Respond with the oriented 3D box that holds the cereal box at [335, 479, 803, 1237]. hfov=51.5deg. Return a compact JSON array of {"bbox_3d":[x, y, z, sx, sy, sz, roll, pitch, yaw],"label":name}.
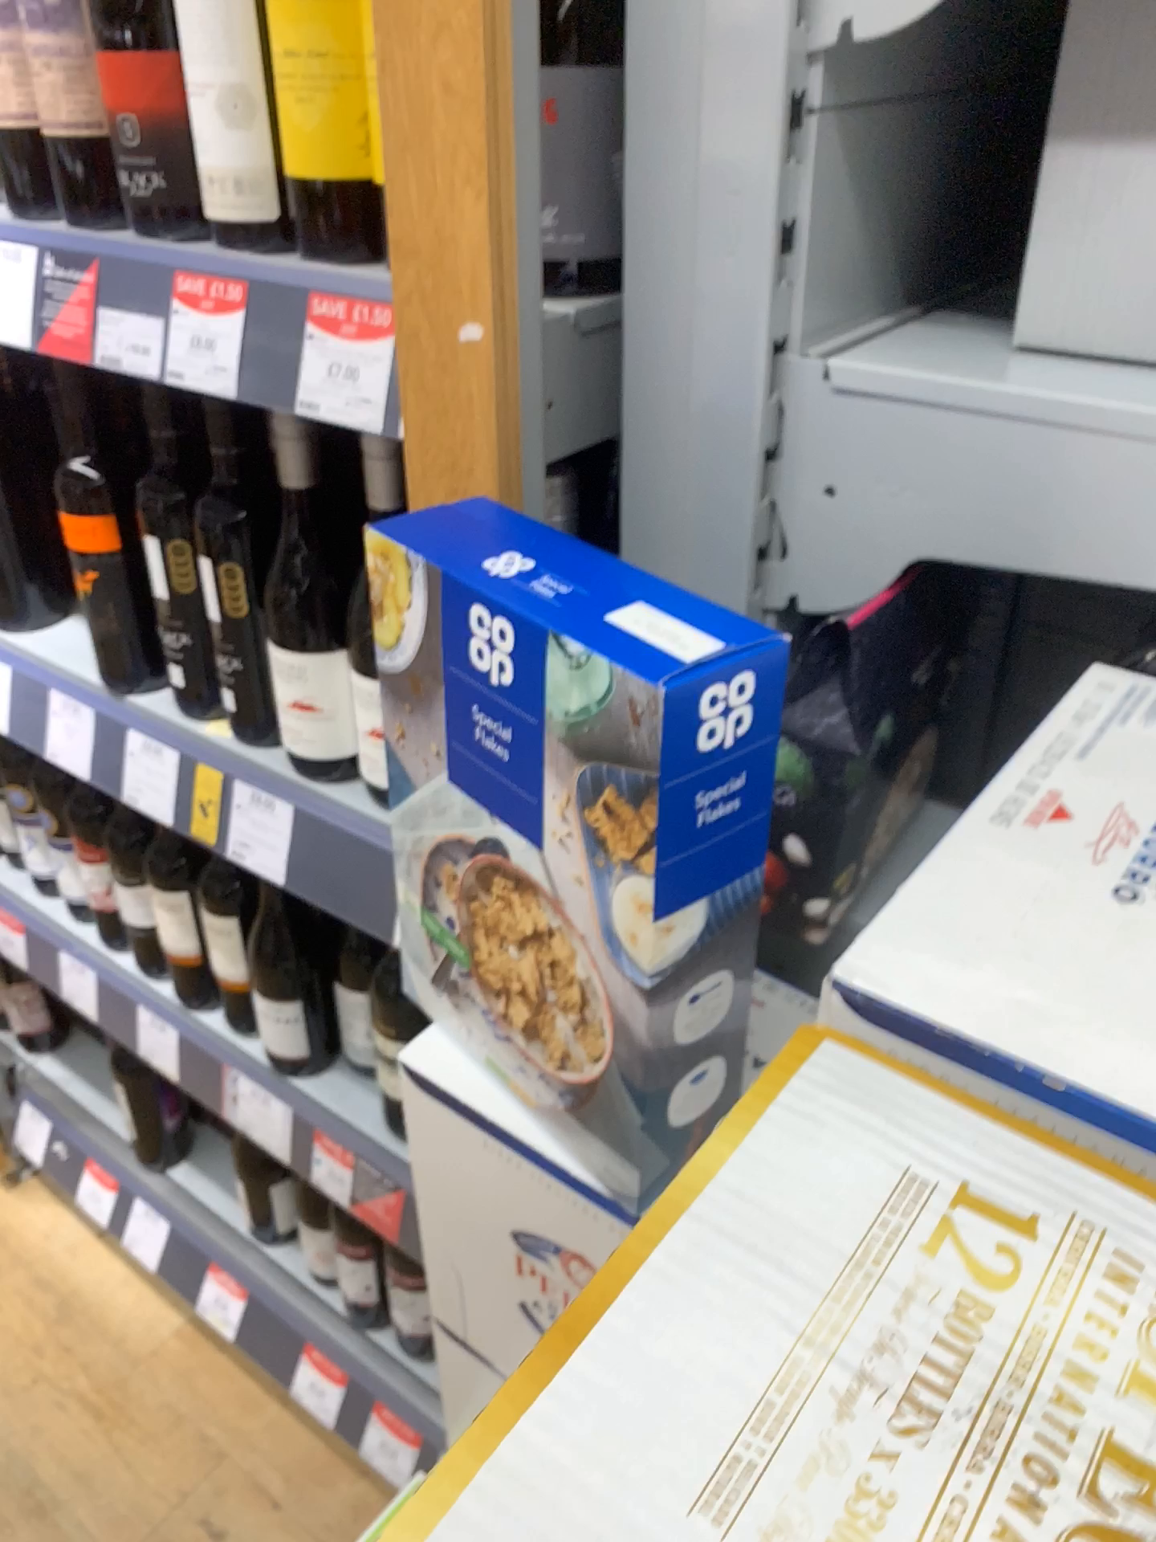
[{"bbox_3d":[-0.011,0.034,0.532,0.070,0.267,0.201,-24,39,-32],"label":"cereal box"}]
